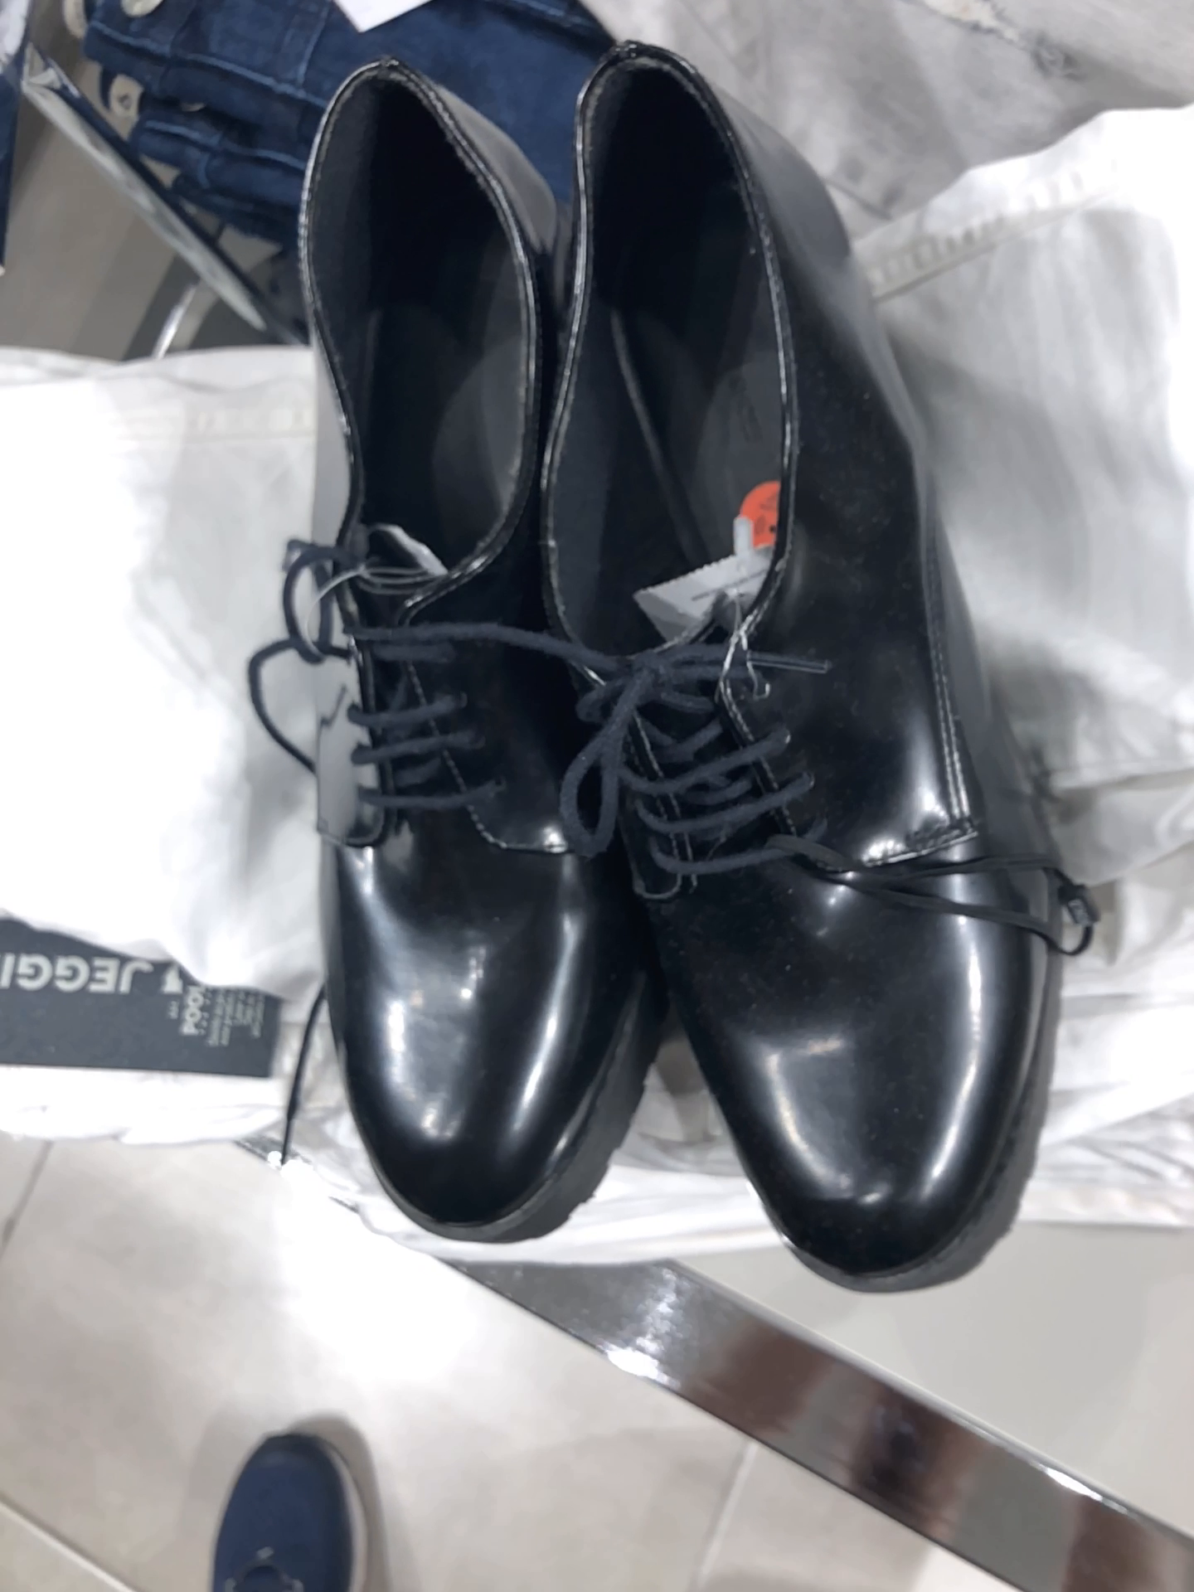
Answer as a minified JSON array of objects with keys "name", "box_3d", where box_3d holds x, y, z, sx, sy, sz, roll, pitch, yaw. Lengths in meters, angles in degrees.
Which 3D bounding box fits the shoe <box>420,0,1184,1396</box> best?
[{"name":"shoe","box_3d":[0.045,-0.021,0.296,0.100,0.150,0.260,-11,71,18]}]

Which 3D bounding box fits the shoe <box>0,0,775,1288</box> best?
[{"name":"shoe","box_3d":[-0.024,-0.026,0.326,0.100,0.160,0.260,-3,73,19]}]
